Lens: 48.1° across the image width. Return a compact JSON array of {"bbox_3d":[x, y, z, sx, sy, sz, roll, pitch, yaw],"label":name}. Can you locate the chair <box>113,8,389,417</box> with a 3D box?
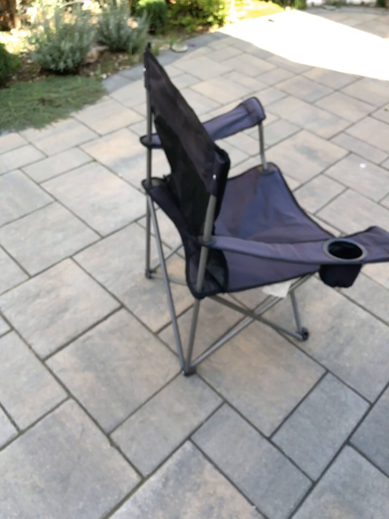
[{"bbox_3d":[0.152,-0.142,1.232,0.571,0.817,0.692,-12,48,-18],"label":"chair"}]
